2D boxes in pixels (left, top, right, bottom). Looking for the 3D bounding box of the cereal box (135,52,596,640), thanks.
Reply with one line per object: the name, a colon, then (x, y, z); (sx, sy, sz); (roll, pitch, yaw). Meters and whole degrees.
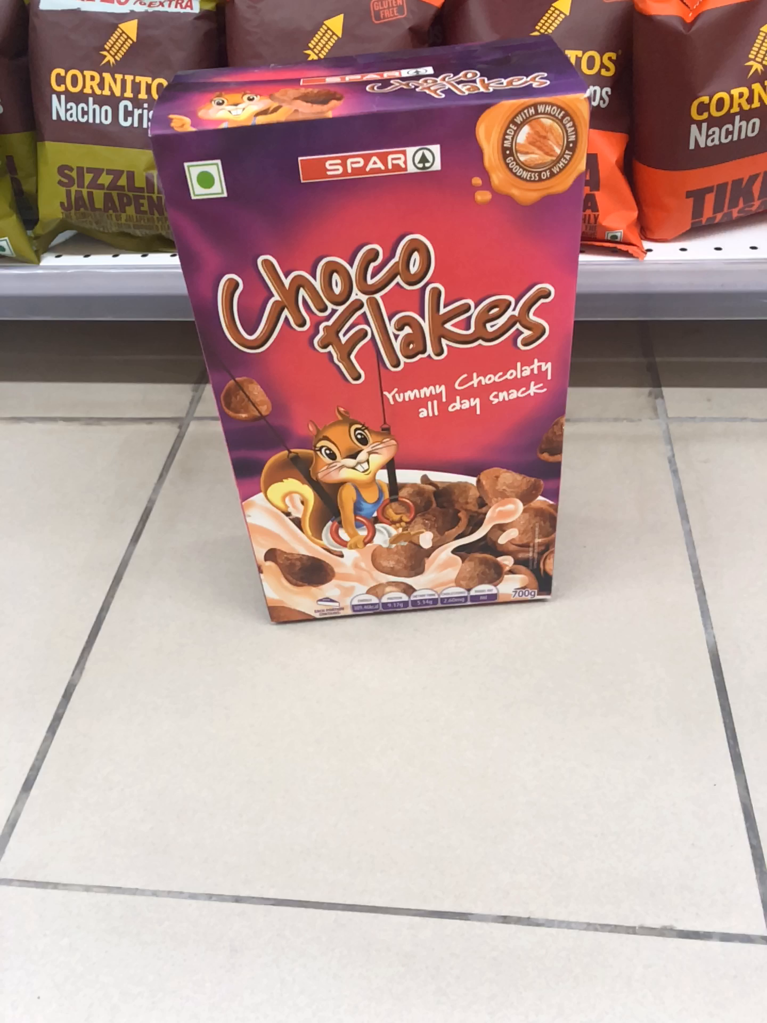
cereal box: (0.001, -0.071, 0.517); (0.200, 0.339, 0.090); (-5, 44, 1)
